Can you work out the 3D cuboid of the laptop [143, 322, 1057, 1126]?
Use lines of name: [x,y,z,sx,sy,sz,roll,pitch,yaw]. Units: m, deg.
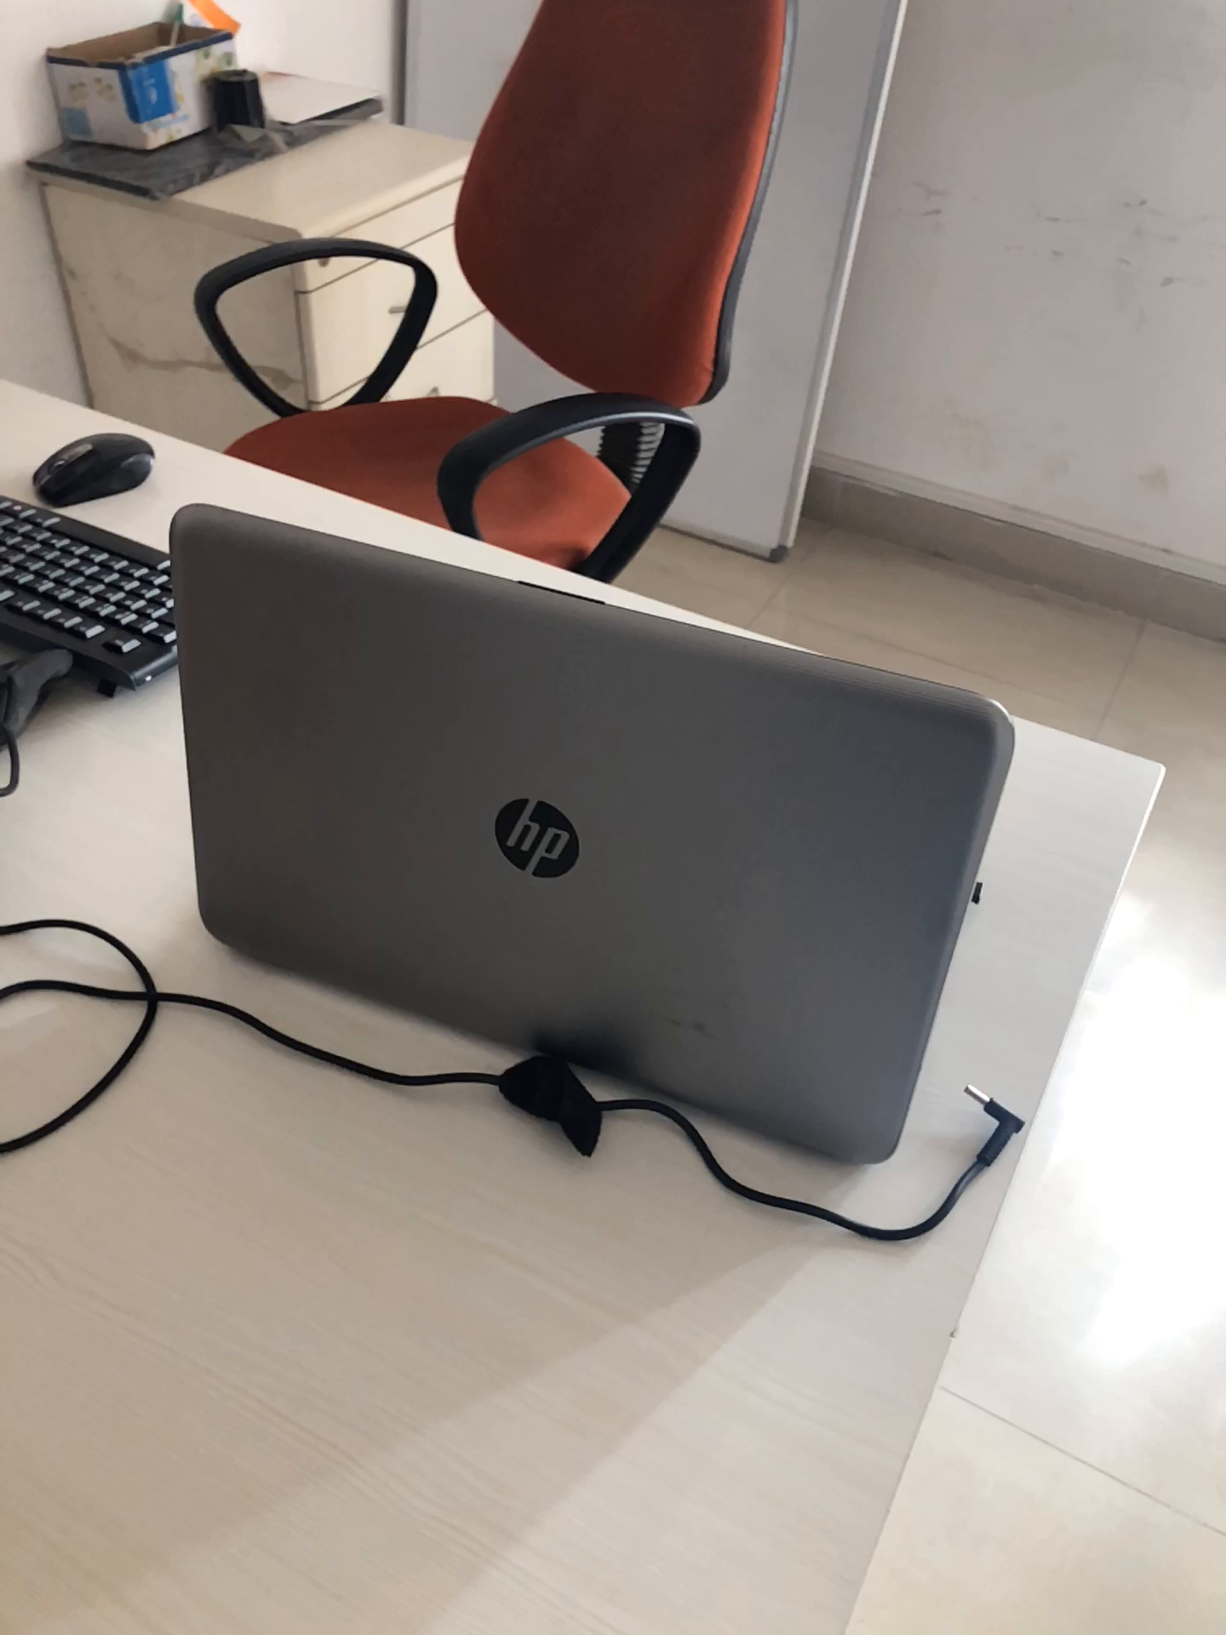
laptop: [-0.004,-0.060,0.674,0.351,0.226,0.217,16,46,16]
